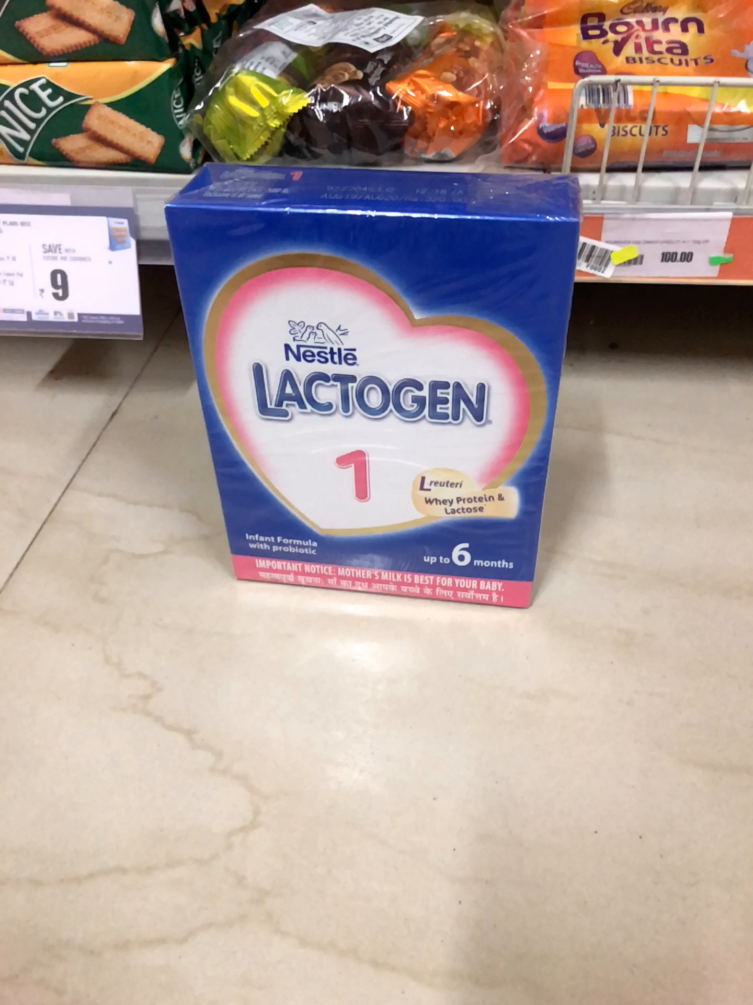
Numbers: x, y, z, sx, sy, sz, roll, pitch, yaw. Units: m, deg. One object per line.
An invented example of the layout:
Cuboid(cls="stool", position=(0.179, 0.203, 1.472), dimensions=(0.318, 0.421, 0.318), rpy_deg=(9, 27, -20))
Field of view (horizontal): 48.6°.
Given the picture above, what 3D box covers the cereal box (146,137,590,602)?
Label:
Cuboid(cls="cereal box", position=(0.001, -0.048, 0.358), dimensions=(0.150, 0.189, 0.050), rpy_deg=(5, 41, 8))
